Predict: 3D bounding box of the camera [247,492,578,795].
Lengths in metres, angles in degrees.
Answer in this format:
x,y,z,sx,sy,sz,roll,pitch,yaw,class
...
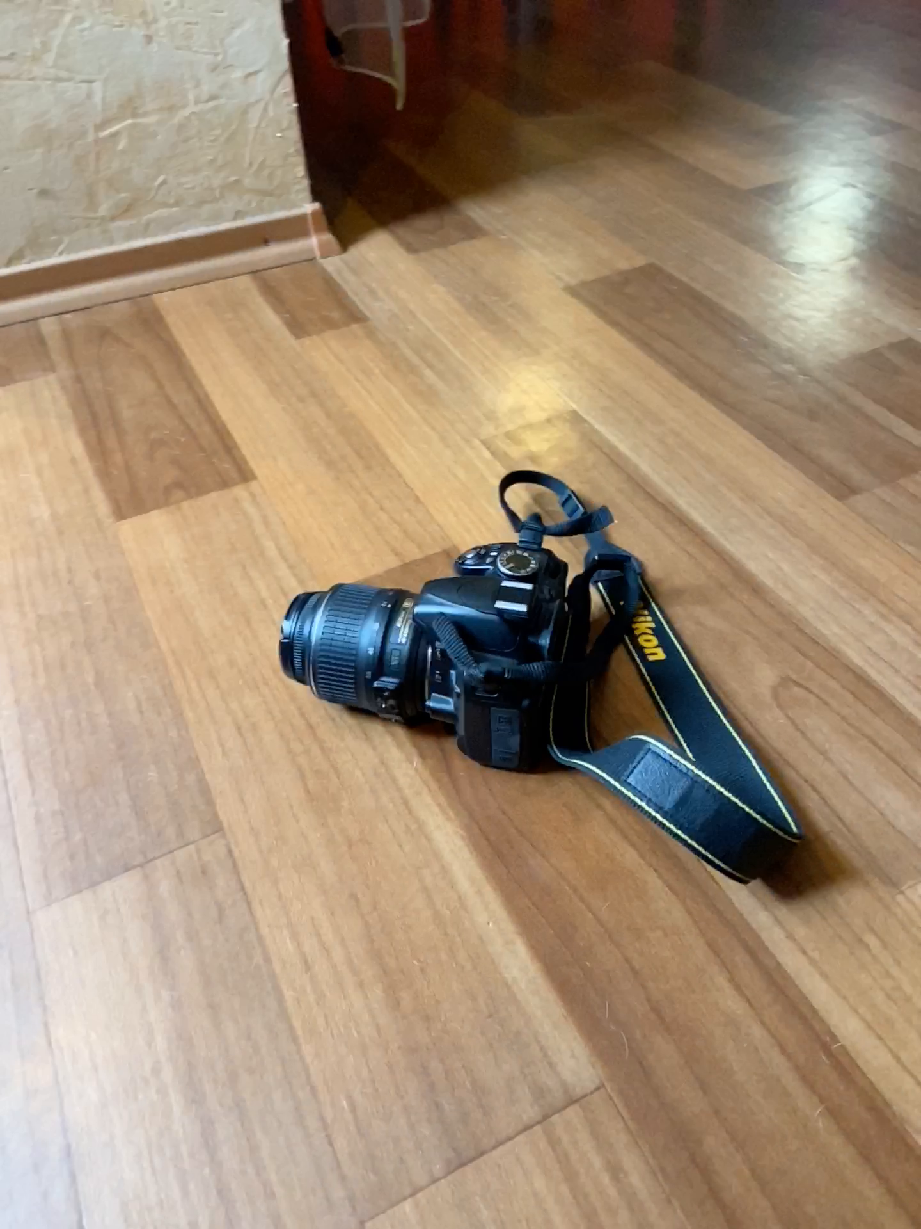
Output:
x,y,z,sx,sy,sz,roll,pitch,yaw,class
-0.018,0.013,0.539,0.153,0.100,0.121,6,45,11,camera
